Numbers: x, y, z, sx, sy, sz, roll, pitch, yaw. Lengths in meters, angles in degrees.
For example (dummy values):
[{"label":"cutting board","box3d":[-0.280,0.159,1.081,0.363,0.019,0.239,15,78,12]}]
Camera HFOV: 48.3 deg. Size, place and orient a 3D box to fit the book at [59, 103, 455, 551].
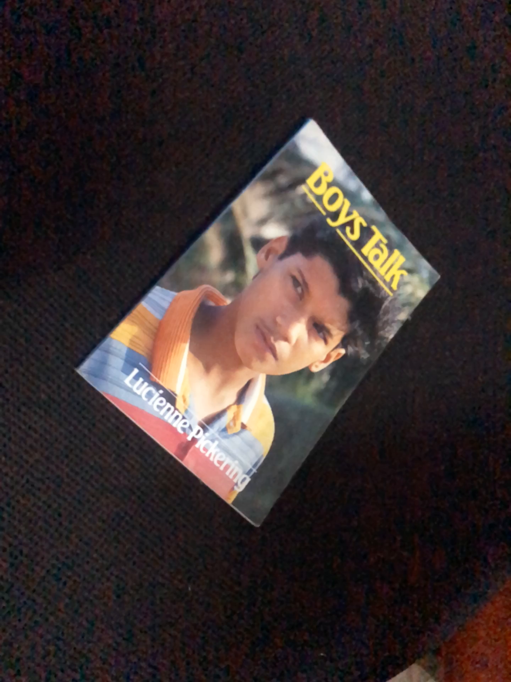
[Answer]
[{"label":"book","box3d":[0.017,-0.010,0.294,0.130,0.010,0.190,46,70,-20]}]
